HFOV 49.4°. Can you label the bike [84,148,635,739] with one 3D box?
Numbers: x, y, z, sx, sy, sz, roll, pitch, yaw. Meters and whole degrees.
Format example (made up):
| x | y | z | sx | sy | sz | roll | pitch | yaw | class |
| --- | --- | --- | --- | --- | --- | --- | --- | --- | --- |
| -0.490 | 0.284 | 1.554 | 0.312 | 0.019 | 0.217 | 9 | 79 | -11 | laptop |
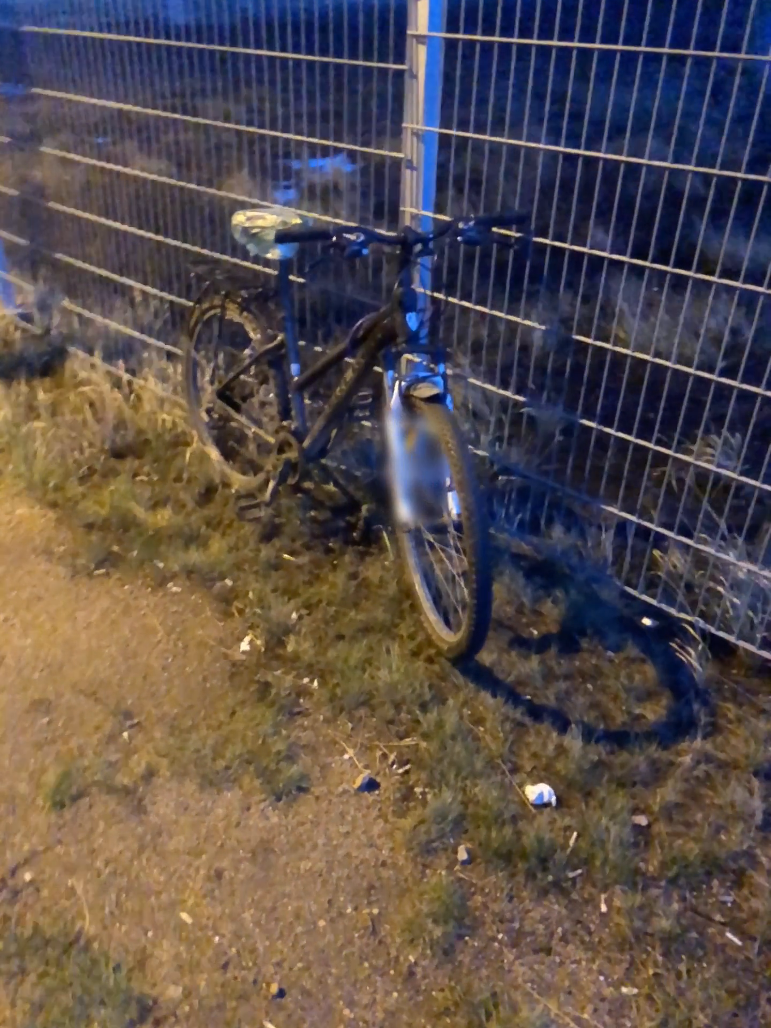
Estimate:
| x | y | z | sx | sy | sz | roll | pitch | yaw | class |
| --- | --- | --- | --- | --- | --- | --- | --- | --- | --- |
| -0.209 | -0.355 | 2.216 | 0.570 | 0.946 | 1.590 | -19 | 35 | -28 | bike |
